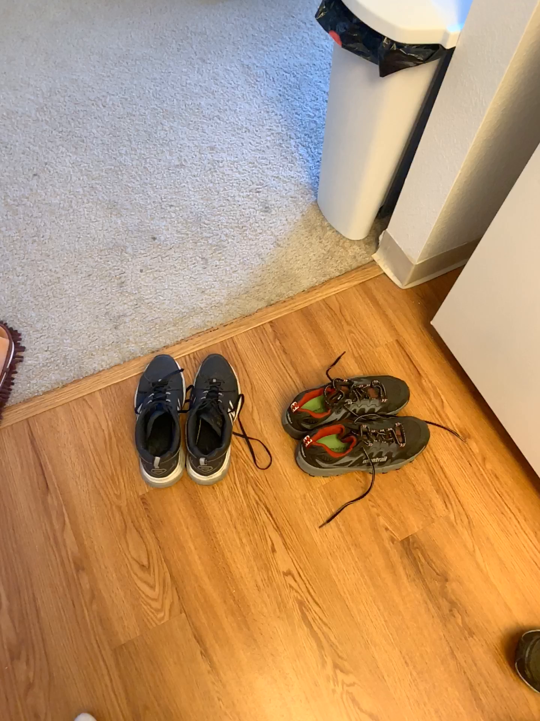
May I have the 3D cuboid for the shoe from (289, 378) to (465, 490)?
[{"bbox_3d":[0.221,0.164,1.208,0.320,0.180,0.140,-8,64,-9],"label":"shoe"}]

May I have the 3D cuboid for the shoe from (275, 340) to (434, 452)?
[{"bbox_3d":[0.177,0.081,1.230,0.300,0.170,0.120,-14,65,-11],"label":"shoe"}]

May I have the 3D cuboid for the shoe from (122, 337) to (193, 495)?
[{"bbox_3d":[-0.243,0.118,1.201,0.130,0.120,0.311,-4,63,-6],"label":"shoe"}]

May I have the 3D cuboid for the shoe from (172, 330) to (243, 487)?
[{"bbox_3d":[-0.126,0.100,1.173,0.120,0.130,0.301,3,62,-3],"label":"shoe"}]
